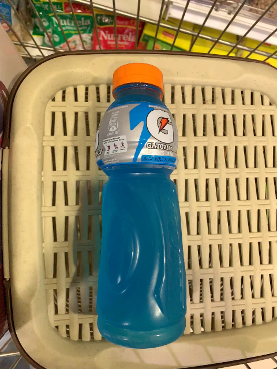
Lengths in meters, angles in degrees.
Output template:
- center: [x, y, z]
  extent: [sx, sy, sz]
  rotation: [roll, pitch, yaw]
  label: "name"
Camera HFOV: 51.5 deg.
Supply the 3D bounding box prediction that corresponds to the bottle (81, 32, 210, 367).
- center: [0.003, 0.009, 0.224]
  extent: [0.080, 0.060, 0.210]
  rotation: [0, 88, -25]
  label: "bottle"
